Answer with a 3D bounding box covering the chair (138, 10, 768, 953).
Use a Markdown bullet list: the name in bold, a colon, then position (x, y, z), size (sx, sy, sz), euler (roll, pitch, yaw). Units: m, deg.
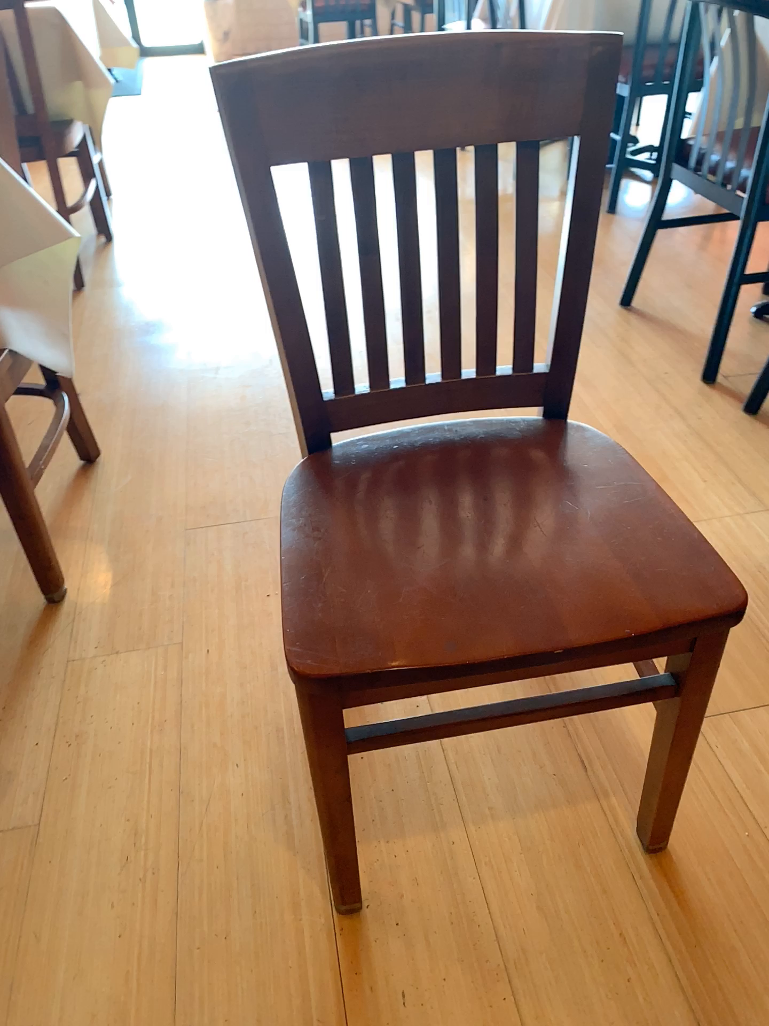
- **chair**: position (0.109, -0.032, 0.924), size (0.540, 0.875, 0.573), euler (-8, 37, -6)
